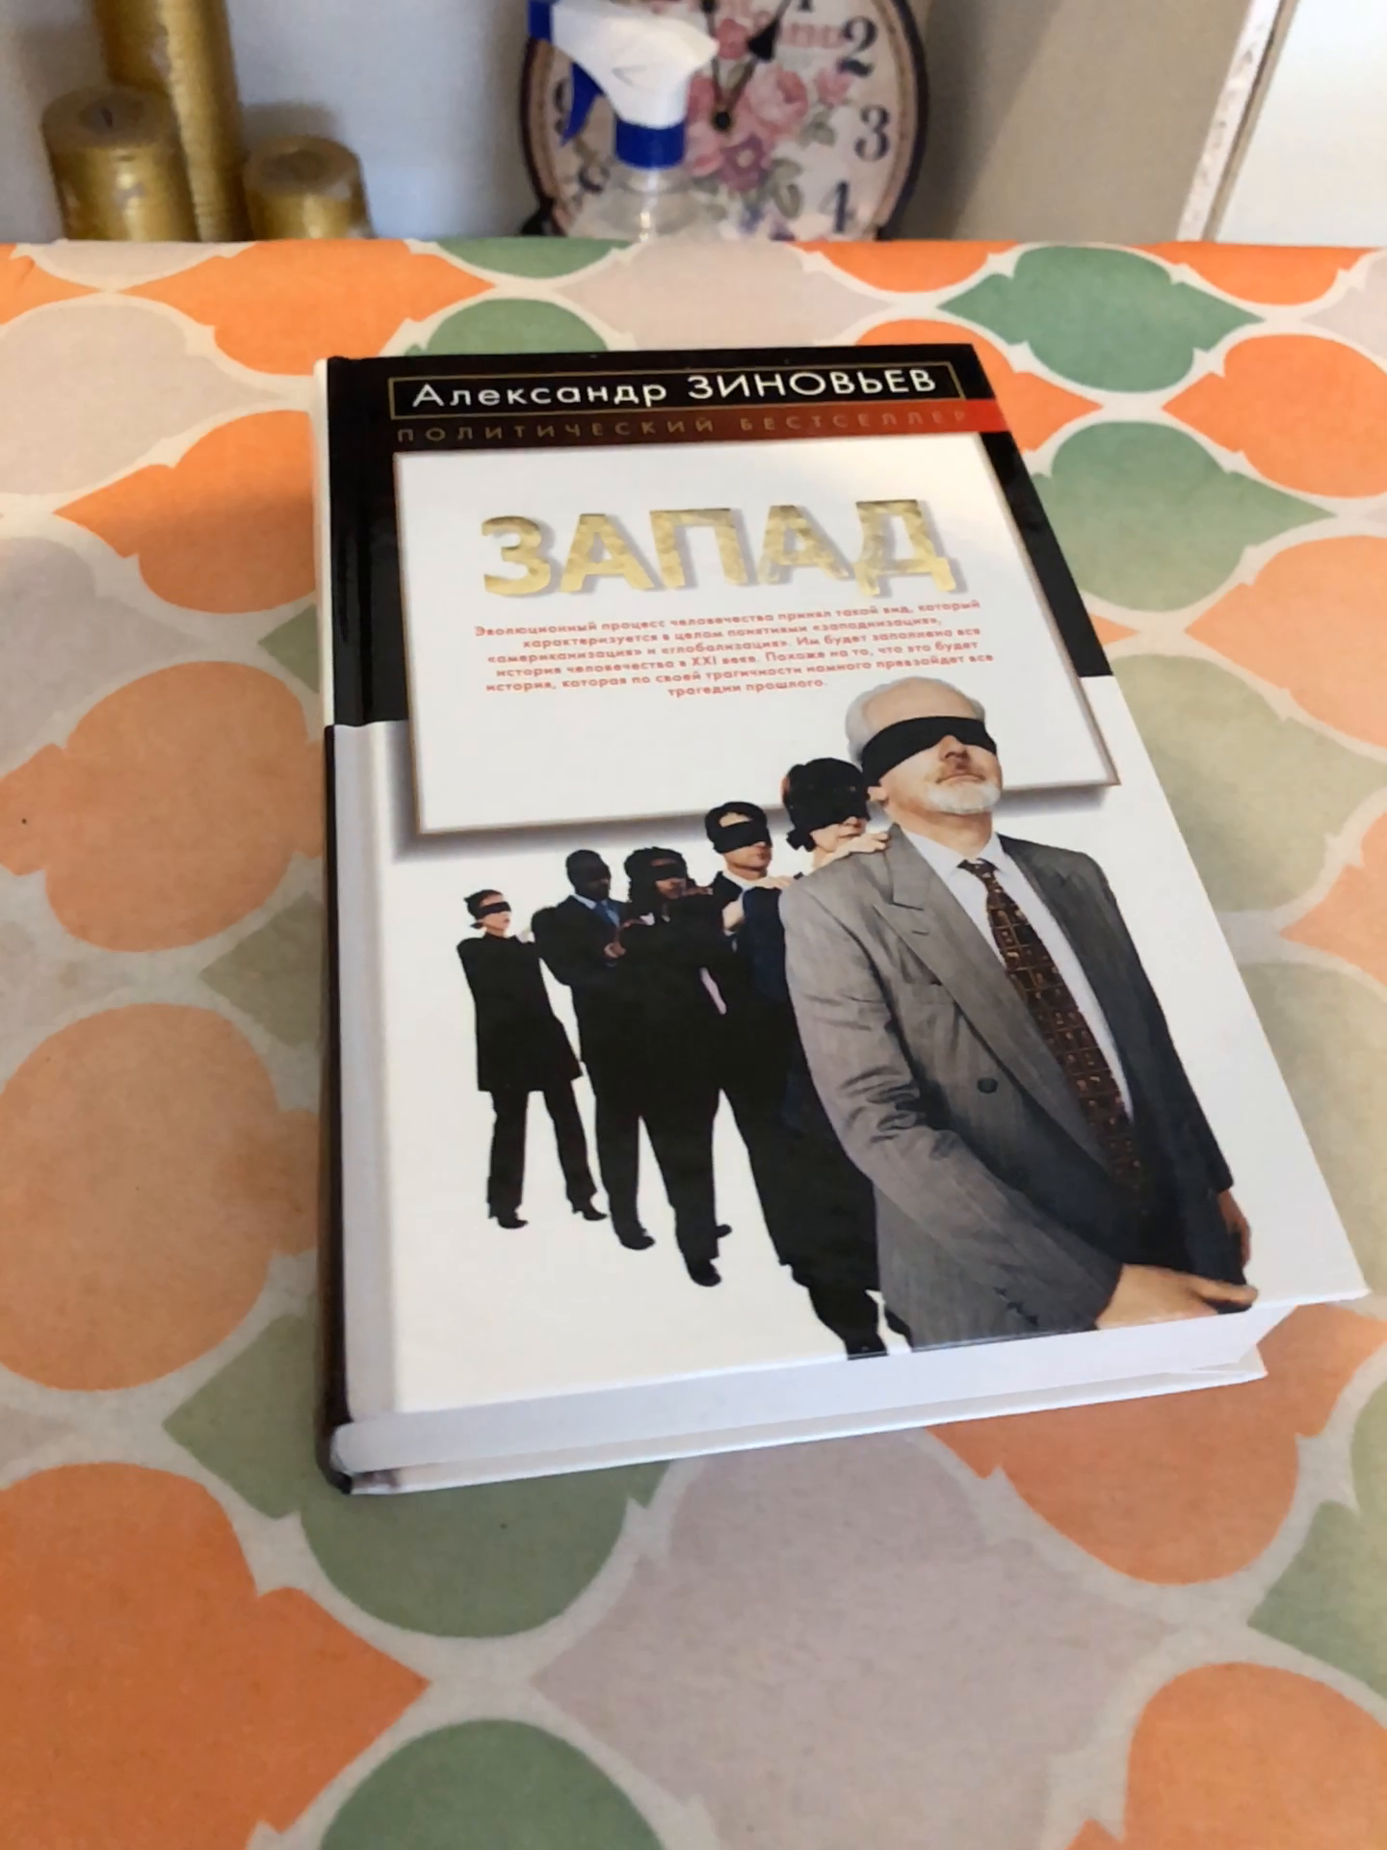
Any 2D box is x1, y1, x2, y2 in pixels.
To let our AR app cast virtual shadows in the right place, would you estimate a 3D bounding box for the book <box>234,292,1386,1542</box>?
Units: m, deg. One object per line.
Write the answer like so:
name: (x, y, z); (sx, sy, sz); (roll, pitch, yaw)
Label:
book: (0.001, -0.025, 0.260); (0.140, 0.040, 0.221); (-5, 54, -8)
